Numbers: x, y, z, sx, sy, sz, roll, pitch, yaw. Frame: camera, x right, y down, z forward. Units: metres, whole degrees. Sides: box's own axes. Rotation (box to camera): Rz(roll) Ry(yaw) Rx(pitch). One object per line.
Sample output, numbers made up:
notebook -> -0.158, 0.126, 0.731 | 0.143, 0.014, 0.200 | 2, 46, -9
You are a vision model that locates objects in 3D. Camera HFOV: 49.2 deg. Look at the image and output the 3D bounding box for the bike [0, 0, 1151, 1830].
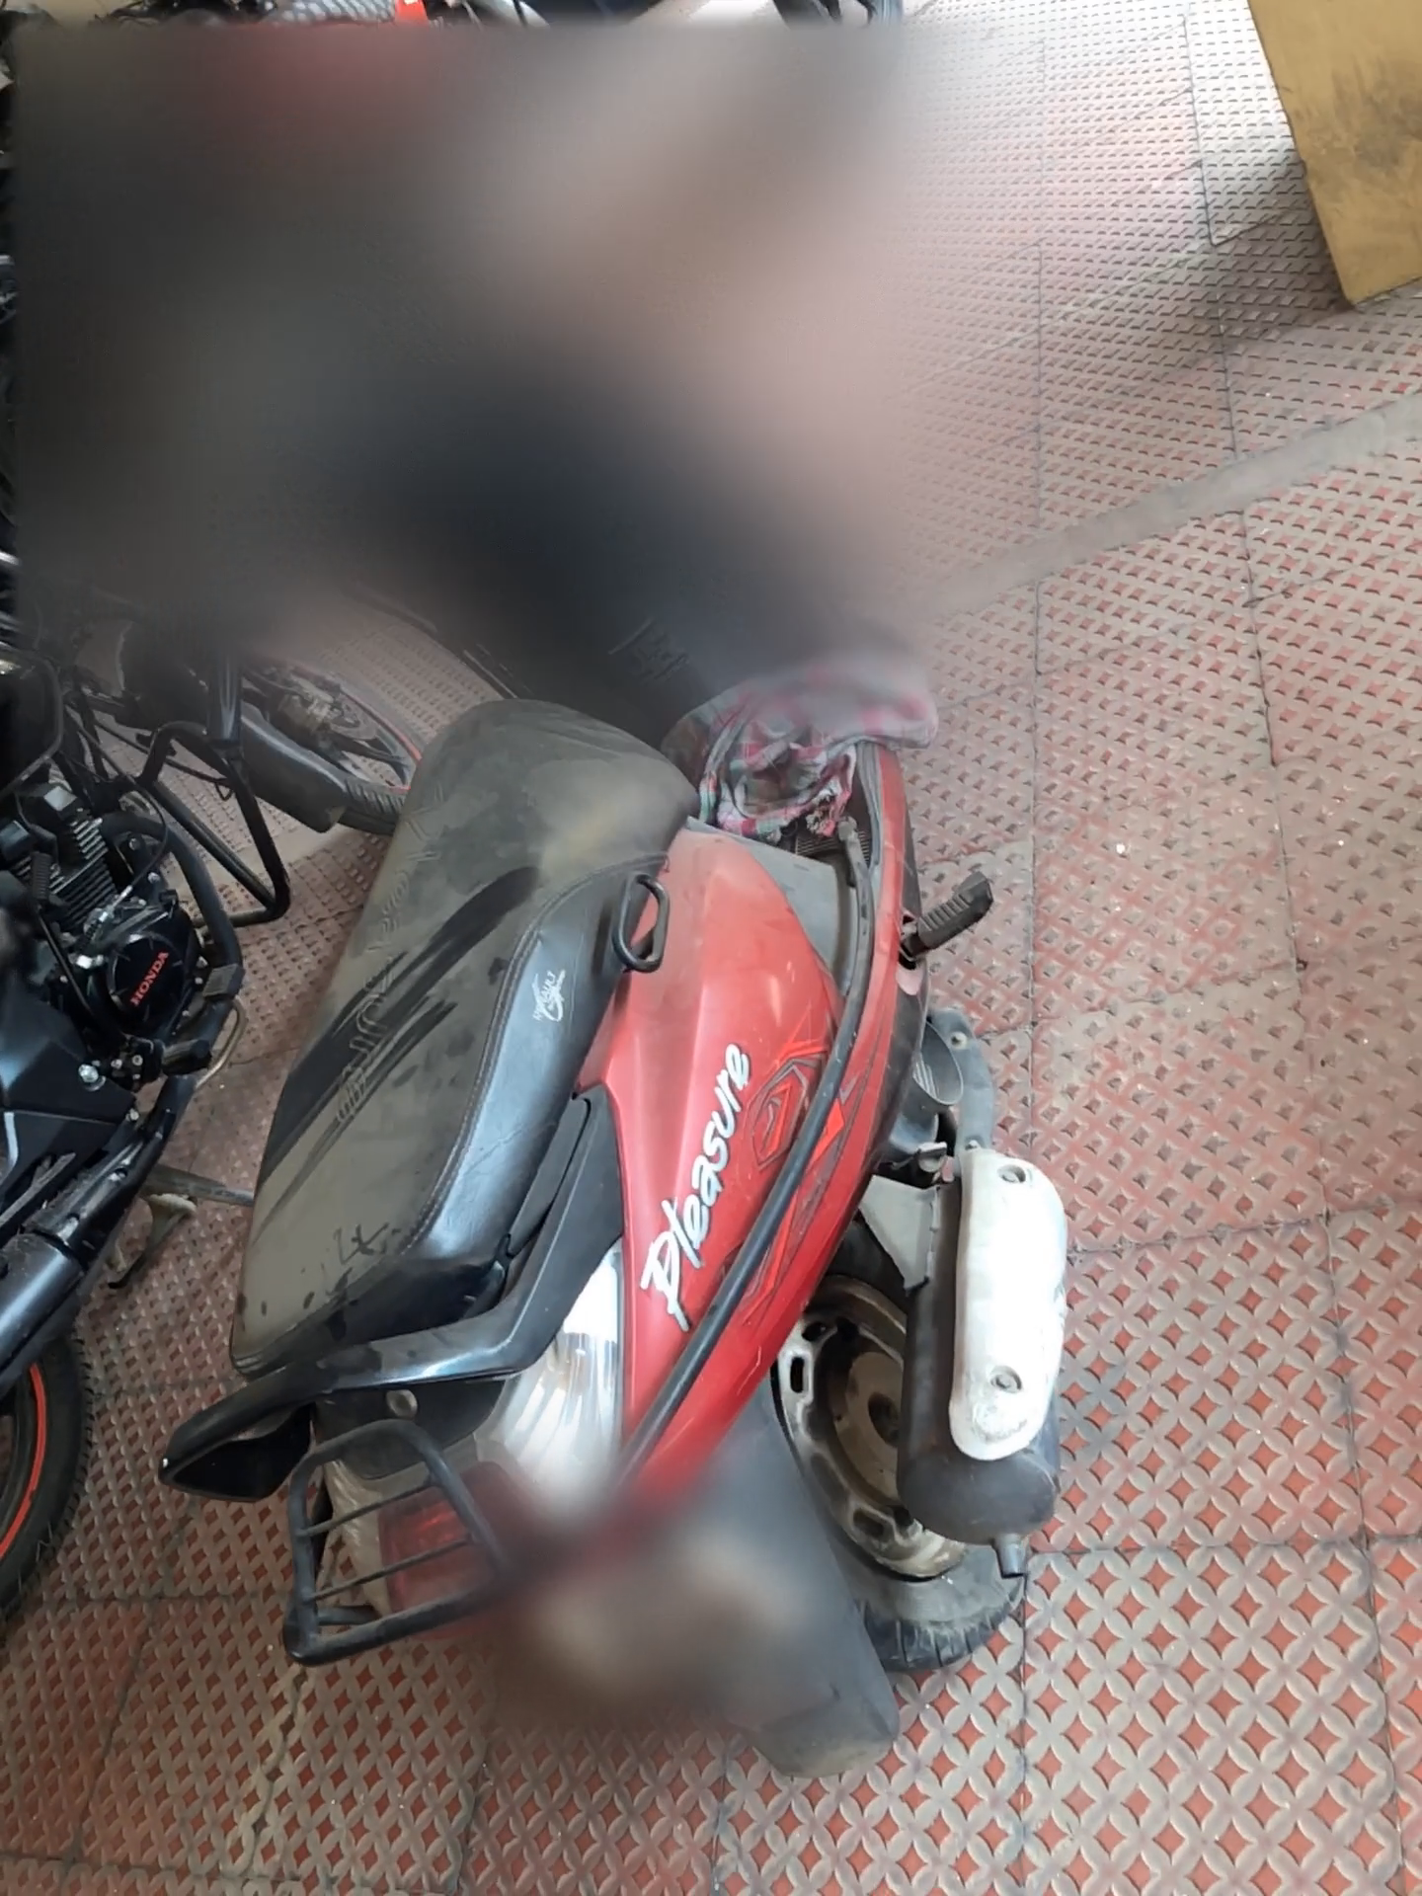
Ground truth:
bike -> -0.244, -0.146, 1.646 | 0.599, 1.030, 1.659 | -27, 40, 18
